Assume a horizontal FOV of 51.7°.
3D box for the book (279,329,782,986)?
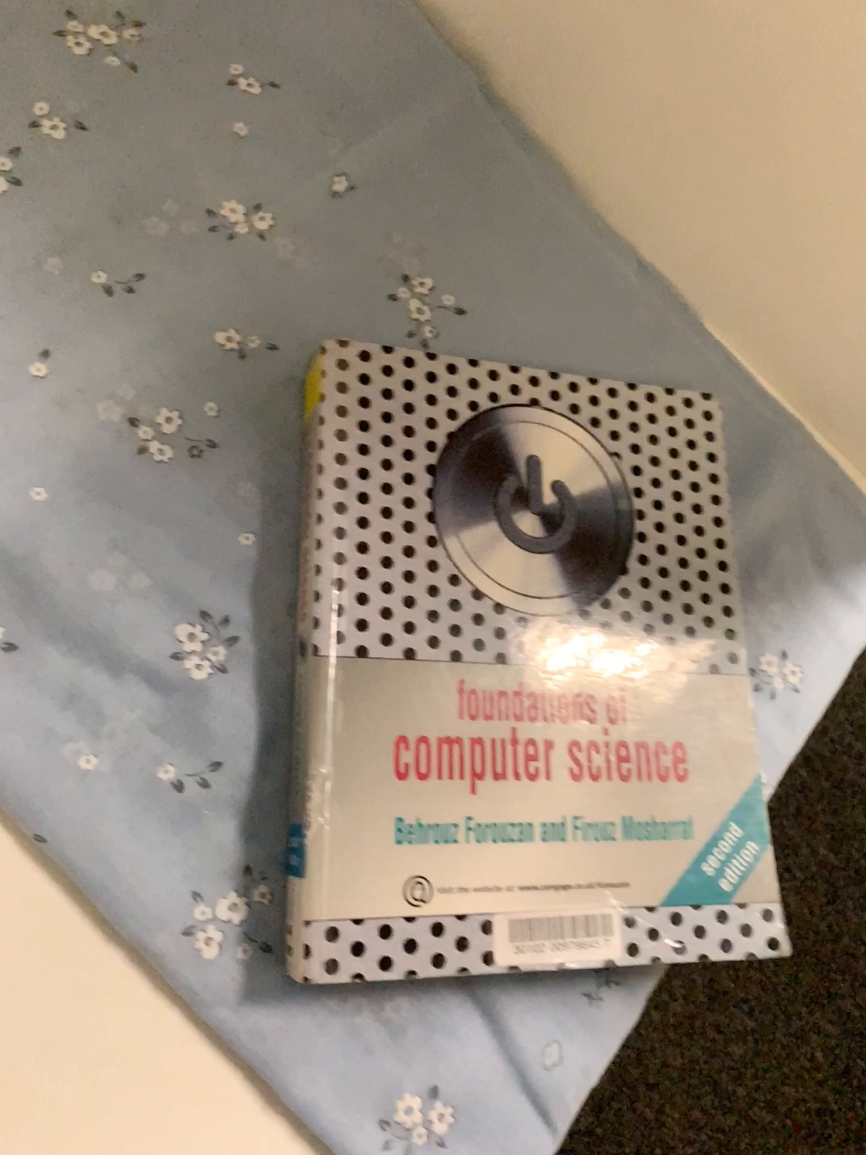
[{"bbox_3d":[0.038,0.028,0.376,0.191,0.040,0.246,4,73,-16],"label":"book"}]
